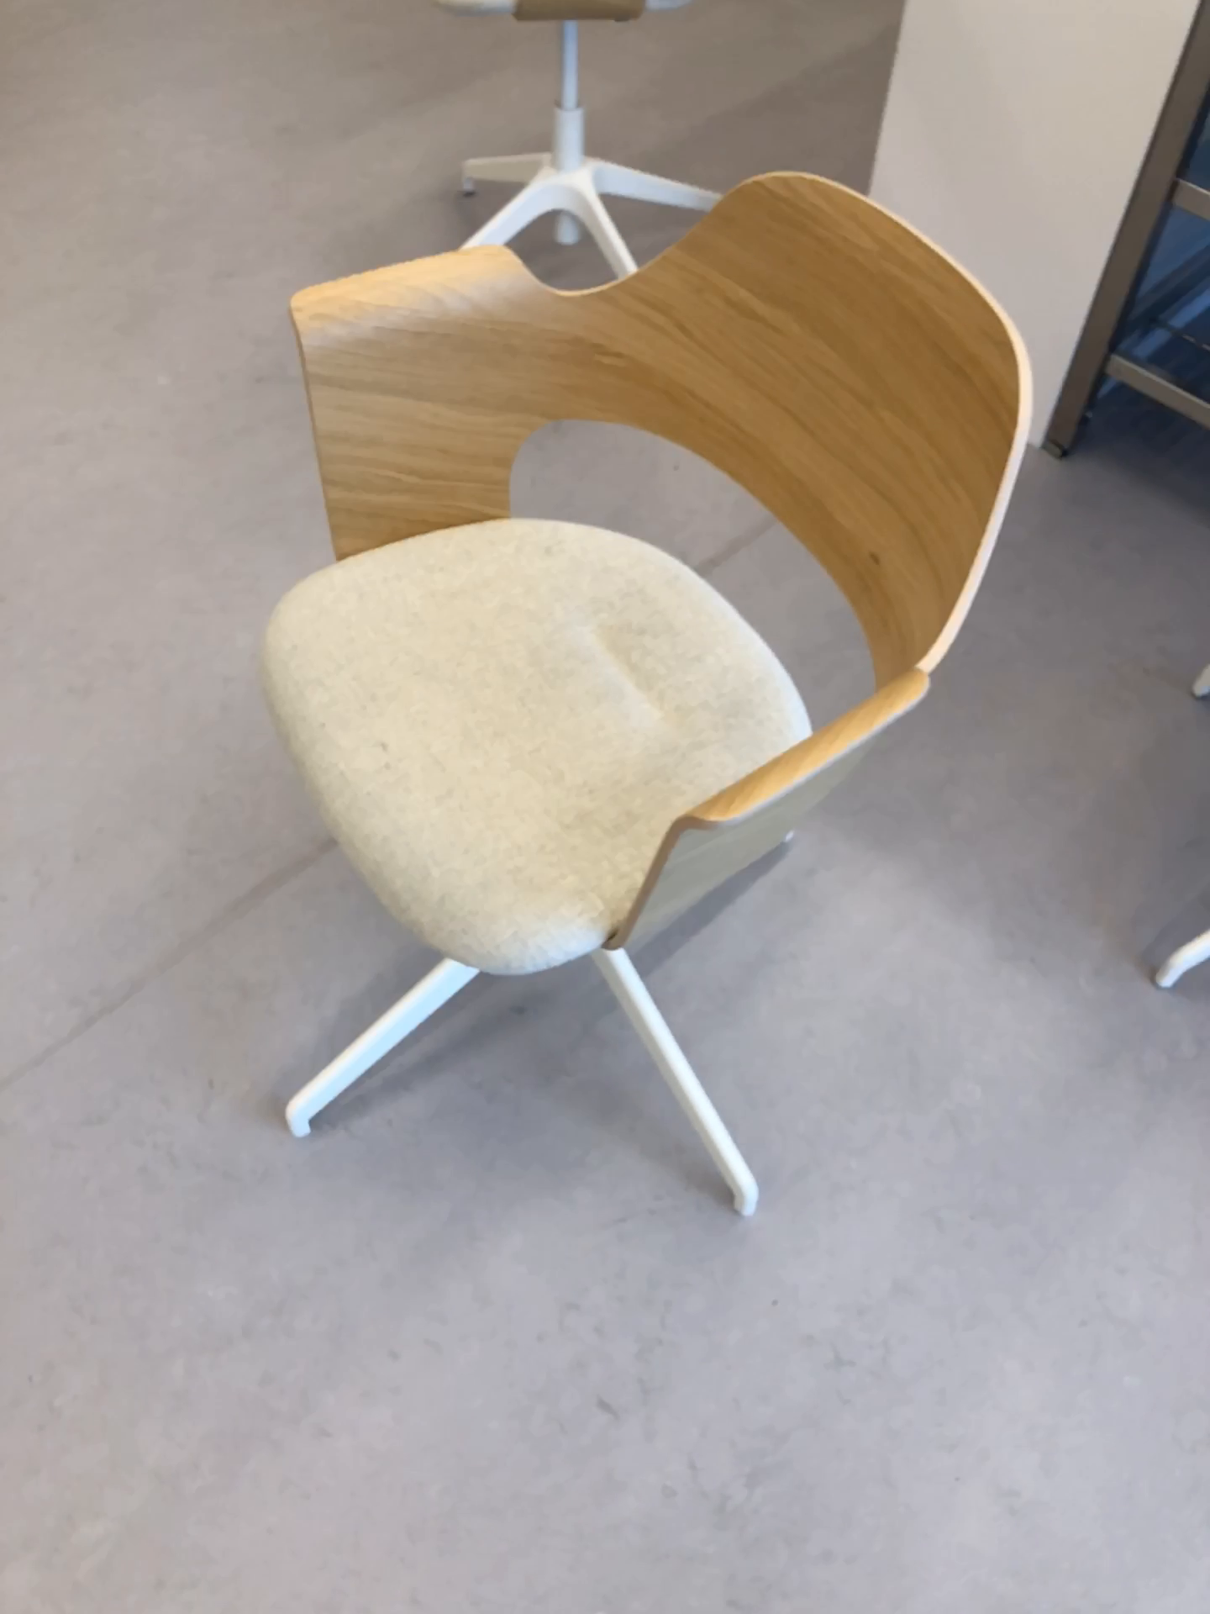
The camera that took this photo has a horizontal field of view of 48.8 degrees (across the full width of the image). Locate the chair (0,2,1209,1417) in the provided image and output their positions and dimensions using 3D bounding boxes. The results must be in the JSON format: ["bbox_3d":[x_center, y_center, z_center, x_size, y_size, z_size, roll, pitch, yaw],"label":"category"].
[{"bbox_3d":[-0.059,-0.061,1.121,0.660,0.776,0.714,-17,57,-14],"label":"chair"}]
